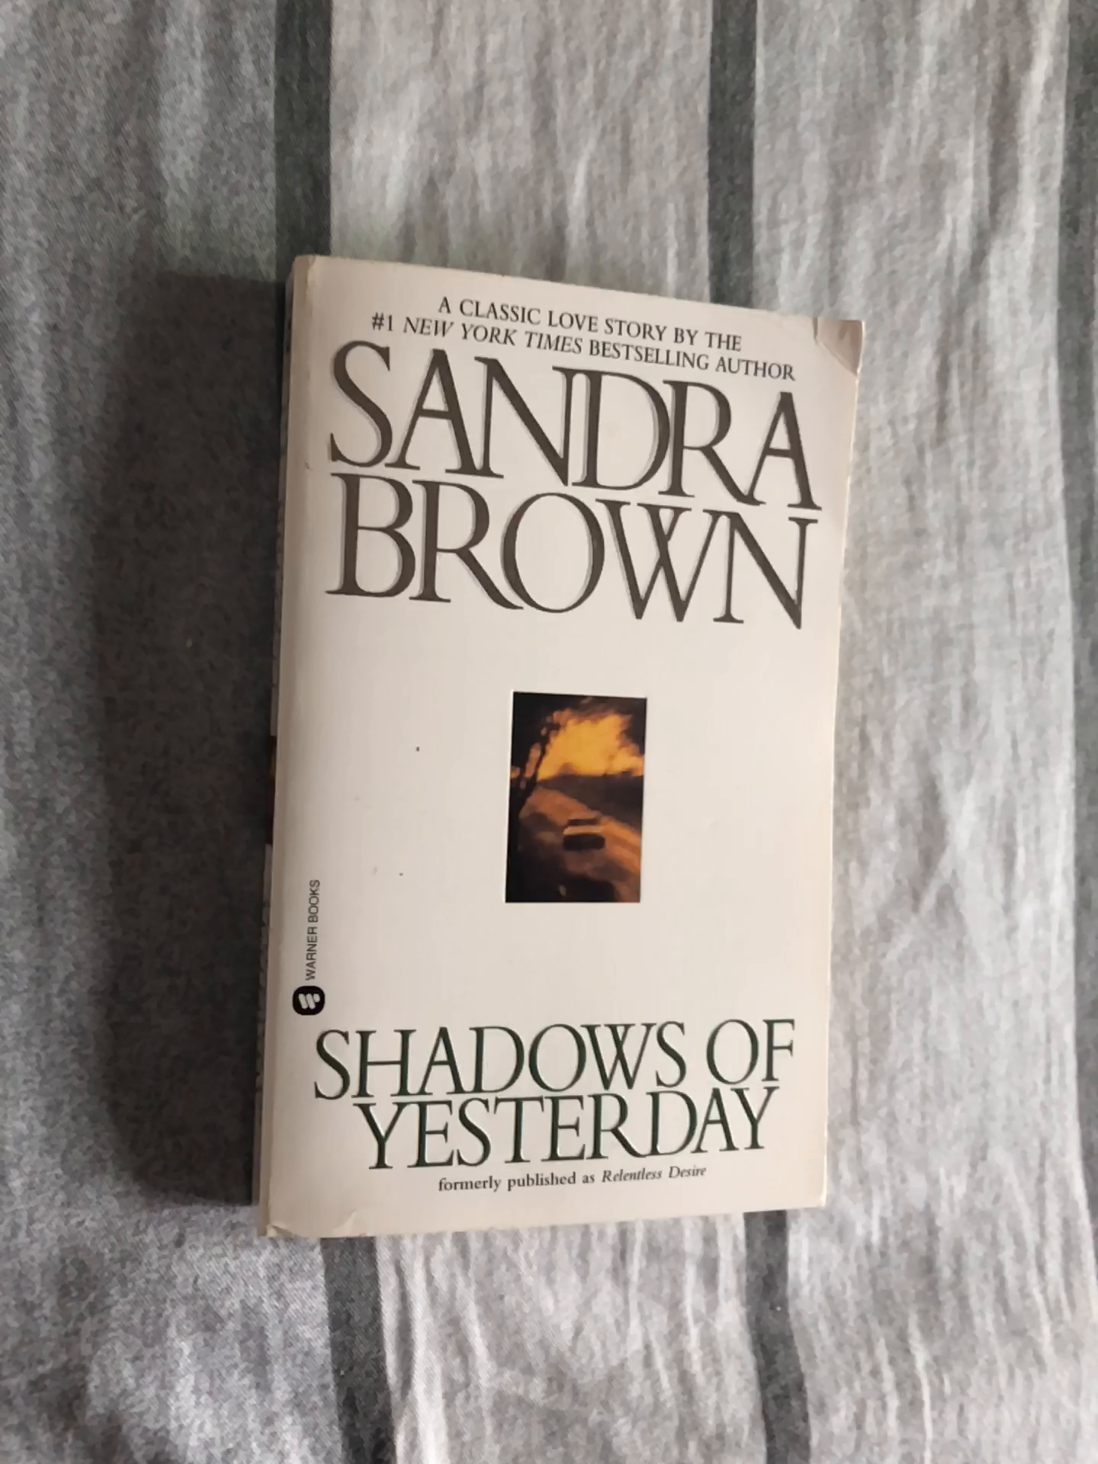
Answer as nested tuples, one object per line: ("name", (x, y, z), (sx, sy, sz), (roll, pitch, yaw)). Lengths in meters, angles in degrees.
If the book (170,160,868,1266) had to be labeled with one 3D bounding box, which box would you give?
("book", (-0.004, 0.000, 0.233), (0.120, 0.030, 0.180), (3, 90, -20))
